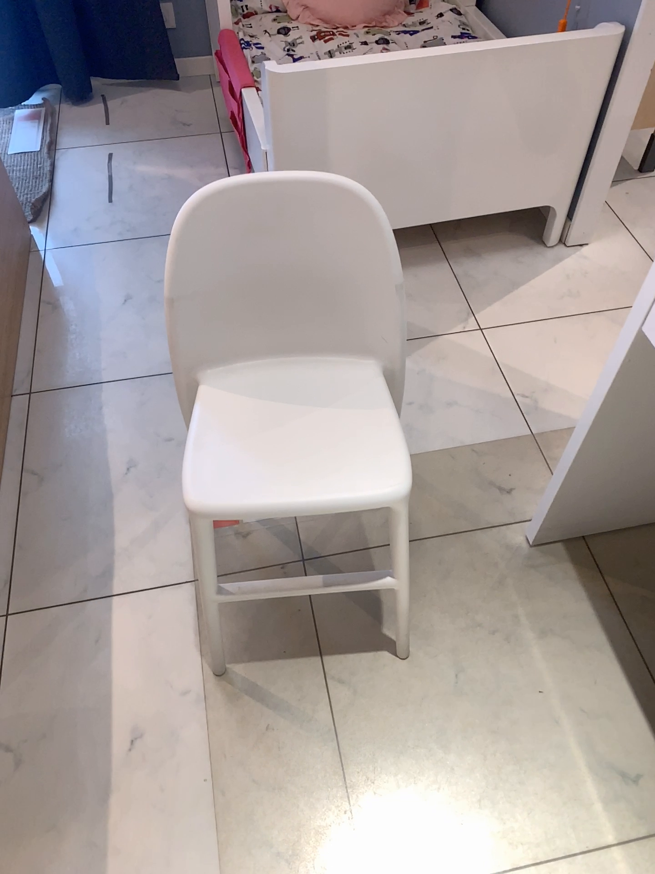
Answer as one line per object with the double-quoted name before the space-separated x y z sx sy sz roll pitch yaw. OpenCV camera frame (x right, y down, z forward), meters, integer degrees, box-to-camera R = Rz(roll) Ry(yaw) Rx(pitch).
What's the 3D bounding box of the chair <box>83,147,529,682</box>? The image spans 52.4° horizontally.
"chair" -0.035 0.008 1.070 0.430 0.698 0.502 -4 52 -2
